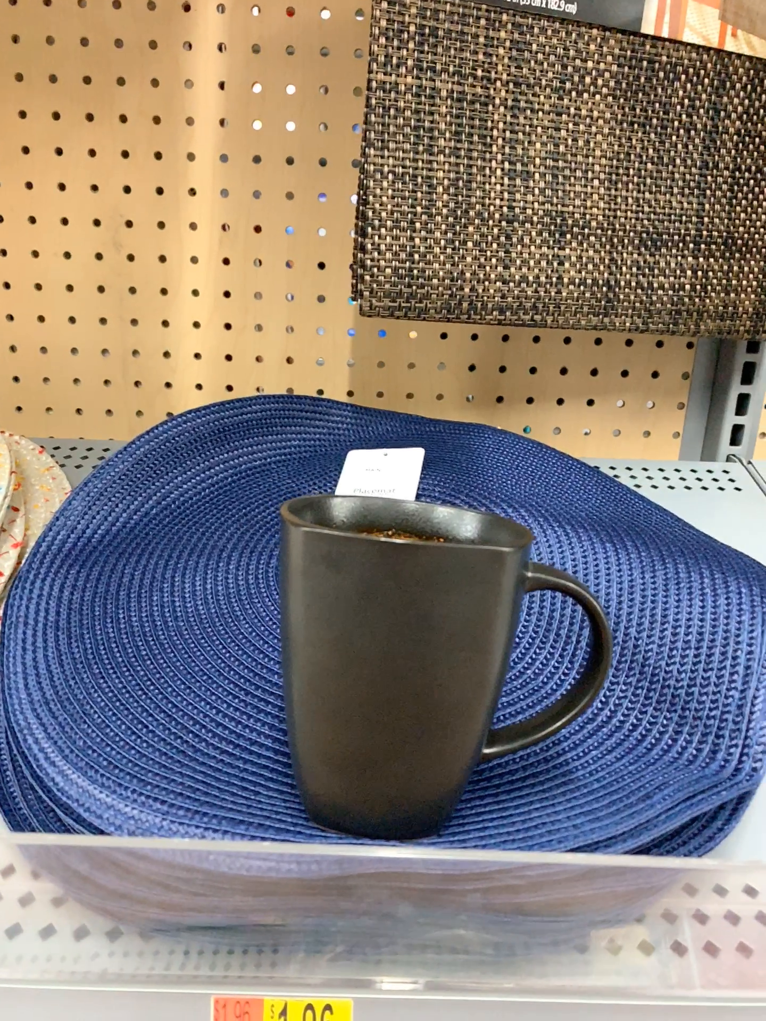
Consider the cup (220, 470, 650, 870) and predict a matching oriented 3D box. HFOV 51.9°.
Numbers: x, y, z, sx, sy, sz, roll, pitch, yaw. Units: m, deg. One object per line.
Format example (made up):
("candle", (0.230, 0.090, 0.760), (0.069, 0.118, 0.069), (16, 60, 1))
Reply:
("cup", (0.016, 0.050, 0.295), (0.130, 0.110, 0.090), (4, 12, 4))
